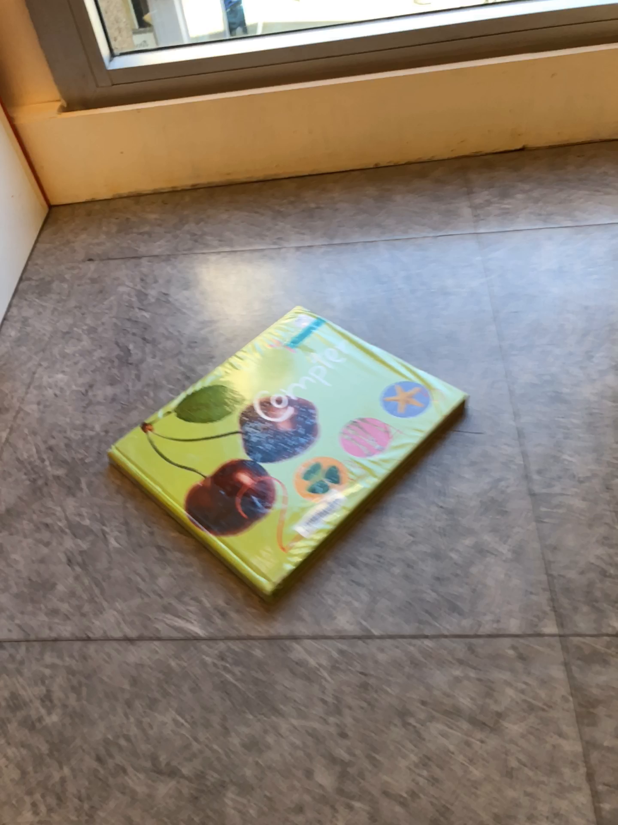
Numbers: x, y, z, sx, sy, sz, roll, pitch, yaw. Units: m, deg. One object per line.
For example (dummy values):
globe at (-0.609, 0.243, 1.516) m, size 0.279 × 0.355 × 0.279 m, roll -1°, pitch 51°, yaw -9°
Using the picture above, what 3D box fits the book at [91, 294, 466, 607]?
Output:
book at (-0.027, 0.011, 0.616) m, size 0.222 × 0.021 × 0.256 m, roll 34°, pitch 61°, yaw 30°
